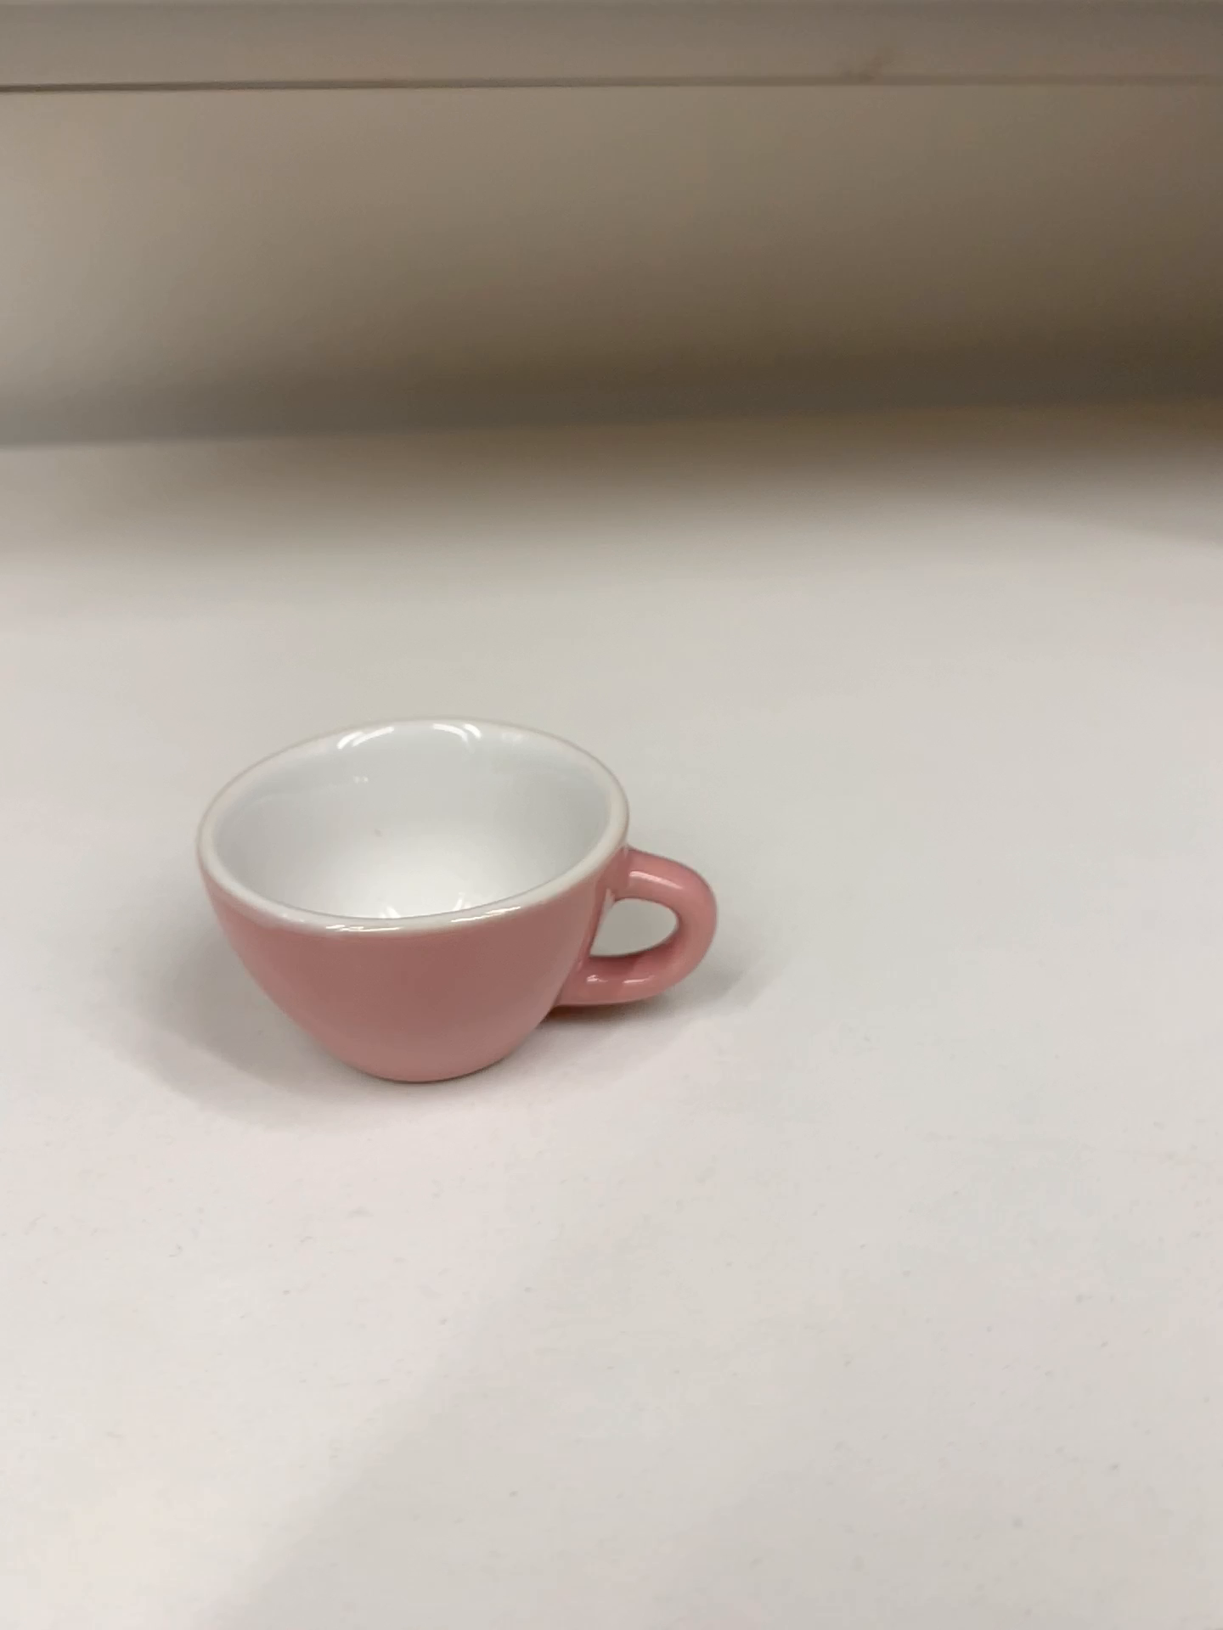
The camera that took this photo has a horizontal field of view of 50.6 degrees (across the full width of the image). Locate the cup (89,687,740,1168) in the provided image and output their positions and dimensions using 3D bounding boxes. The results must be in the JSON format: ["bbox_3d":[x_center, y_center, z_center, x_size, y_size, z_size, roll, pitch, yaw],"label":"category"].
[{"bbox_3d":[-0.023,0.012,0.167,0.070,0.040,0.040,-5,30,-7],"label":"cup"}]
